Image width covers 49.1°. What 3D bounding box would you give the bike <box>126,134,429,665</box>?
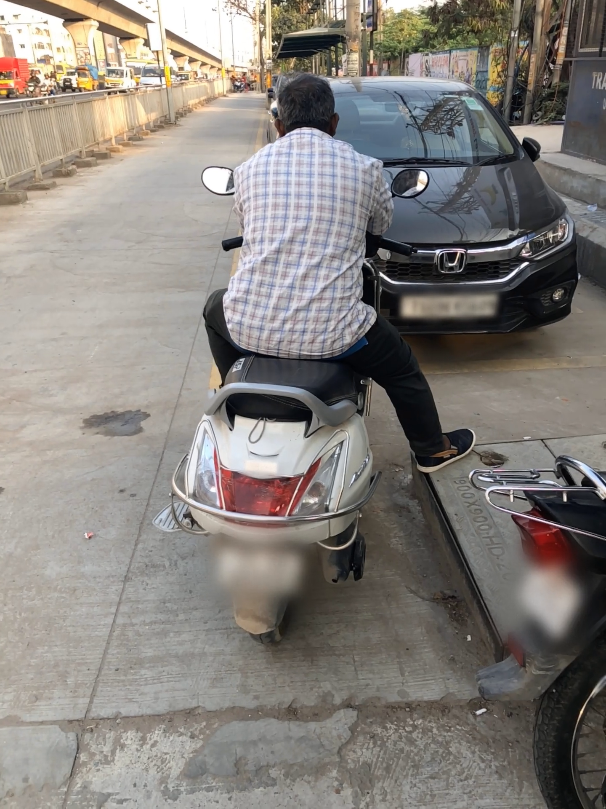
[{"bbox_3d":[0.075,-0.200,2.217,0.641,0.858,1.609,2,35,9],"label":"bike"}]
